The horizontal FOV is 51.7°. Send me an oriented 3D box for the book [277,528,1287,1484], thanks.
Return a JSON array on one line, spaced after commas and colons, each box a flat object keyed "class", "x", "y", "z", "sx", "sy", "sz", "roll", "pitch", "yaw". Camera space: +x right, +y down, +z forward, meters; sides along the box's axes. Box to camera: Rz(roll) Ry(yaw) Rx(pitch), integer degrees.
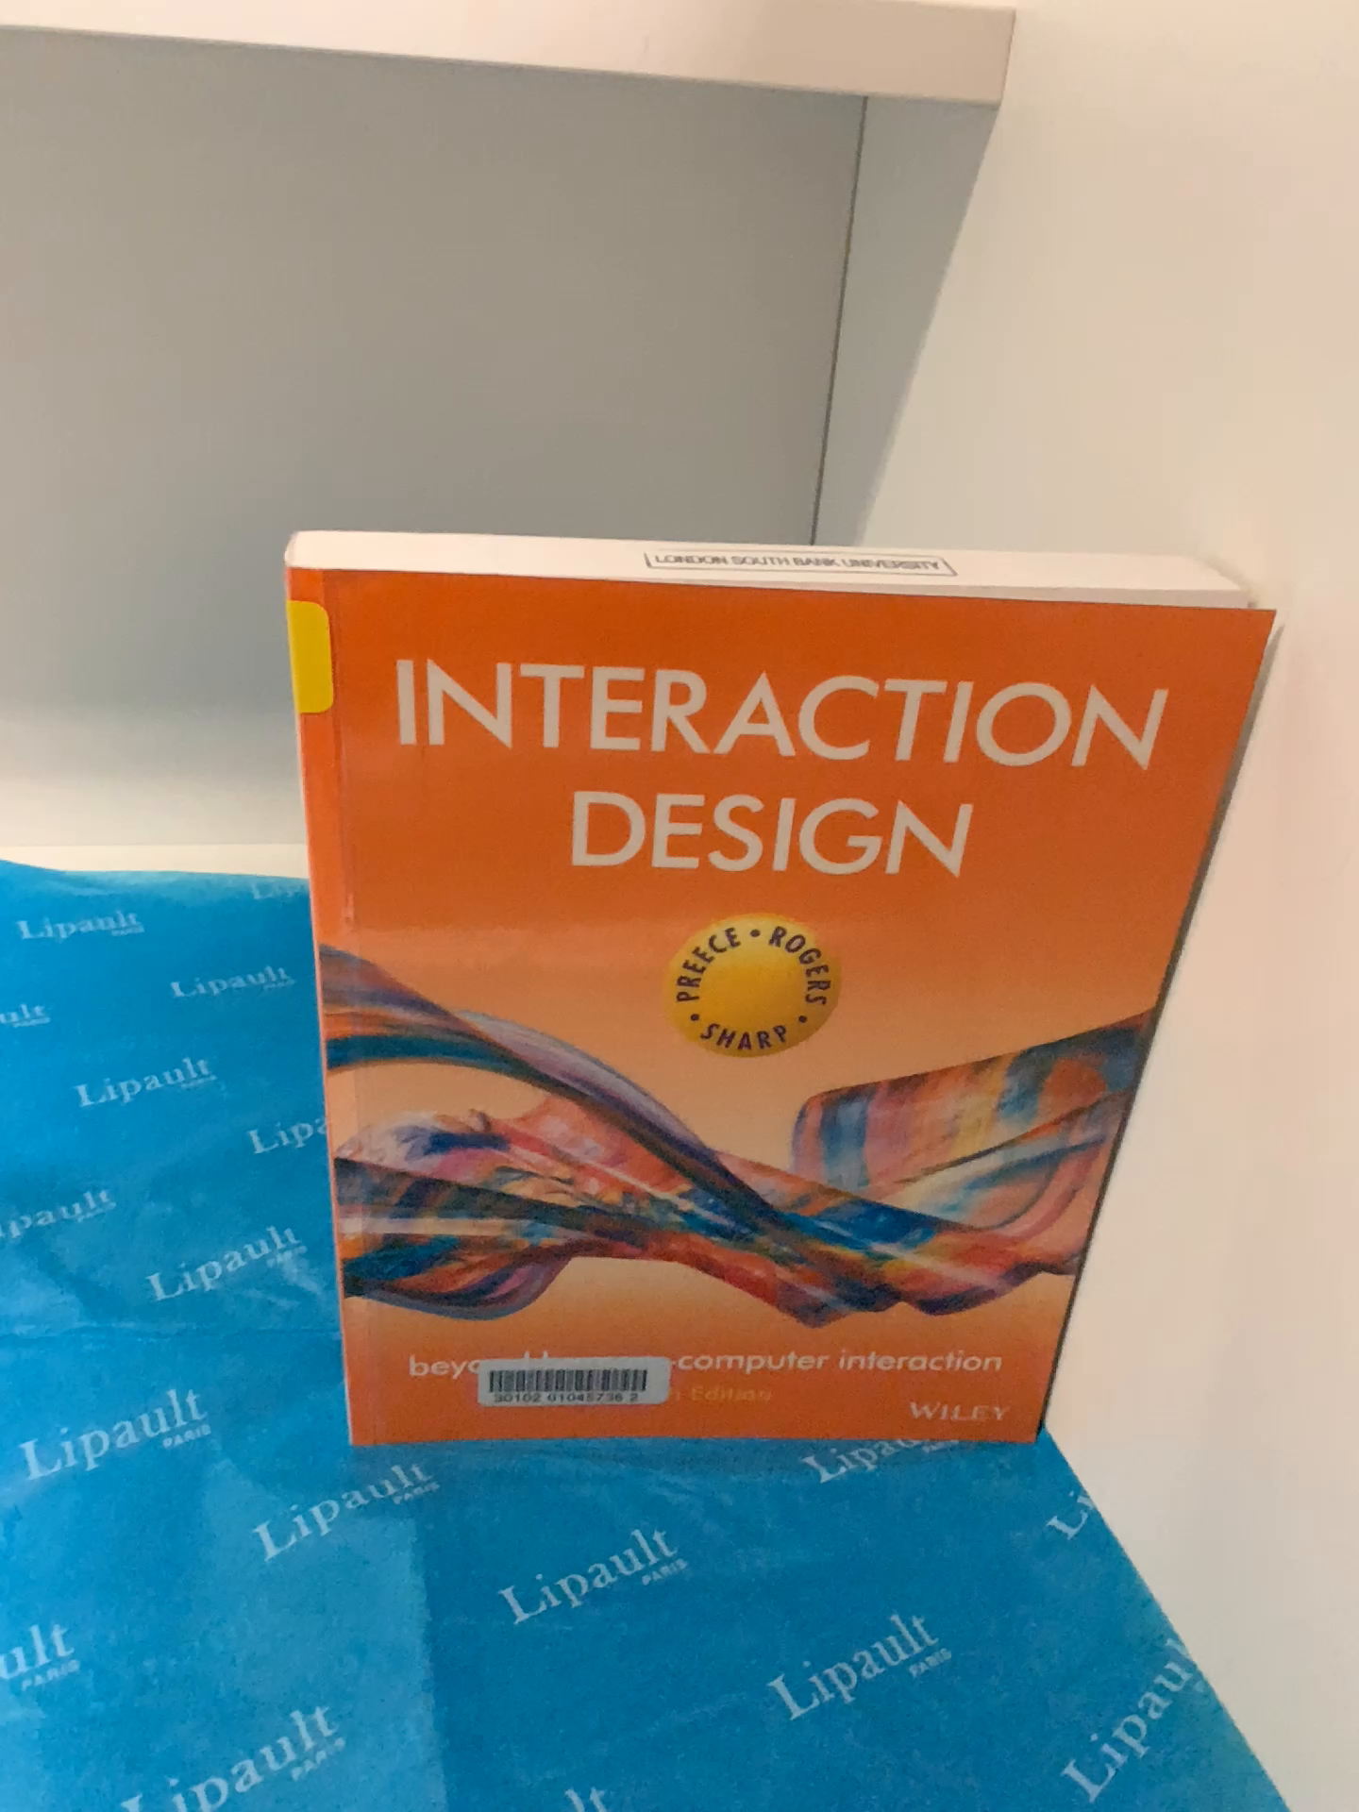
[{"class": "book", "x": 0.014, "y": 0.039, "z": 0.339, "sx": 0.194, "sy": 0.247, "sz": 0.030, "roll": -1, "pitch": 31, "yaw": -9}]
